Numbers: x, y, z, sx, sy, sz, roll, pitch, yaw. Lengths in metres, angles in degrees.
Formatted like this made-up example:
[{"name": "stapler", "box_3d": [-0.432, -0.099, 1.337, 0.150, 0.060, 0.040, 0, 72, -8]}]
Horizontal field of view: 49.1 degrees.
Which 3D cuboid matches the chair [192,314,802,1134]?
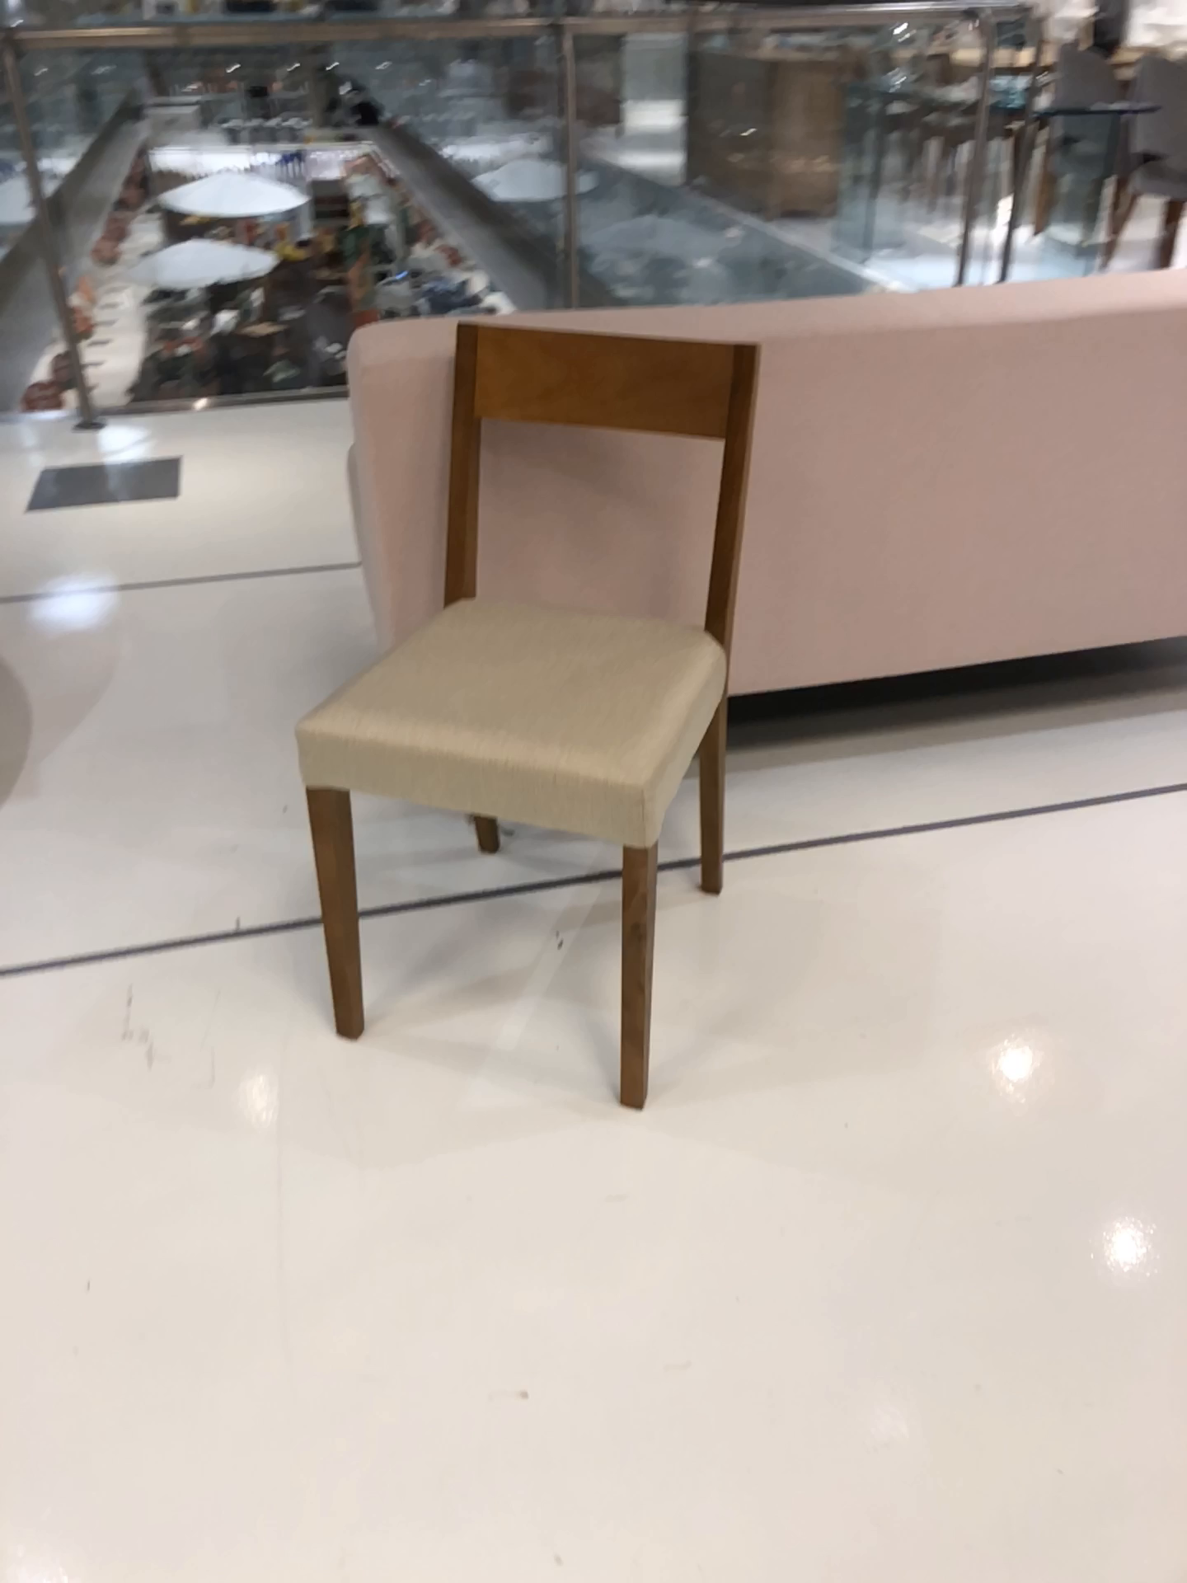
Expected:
[{"name": "chair", "box_3d": [-0.066, -0.120, 1.693, 0.490, 0.814, 0.594, 11, 33, 19]}]
